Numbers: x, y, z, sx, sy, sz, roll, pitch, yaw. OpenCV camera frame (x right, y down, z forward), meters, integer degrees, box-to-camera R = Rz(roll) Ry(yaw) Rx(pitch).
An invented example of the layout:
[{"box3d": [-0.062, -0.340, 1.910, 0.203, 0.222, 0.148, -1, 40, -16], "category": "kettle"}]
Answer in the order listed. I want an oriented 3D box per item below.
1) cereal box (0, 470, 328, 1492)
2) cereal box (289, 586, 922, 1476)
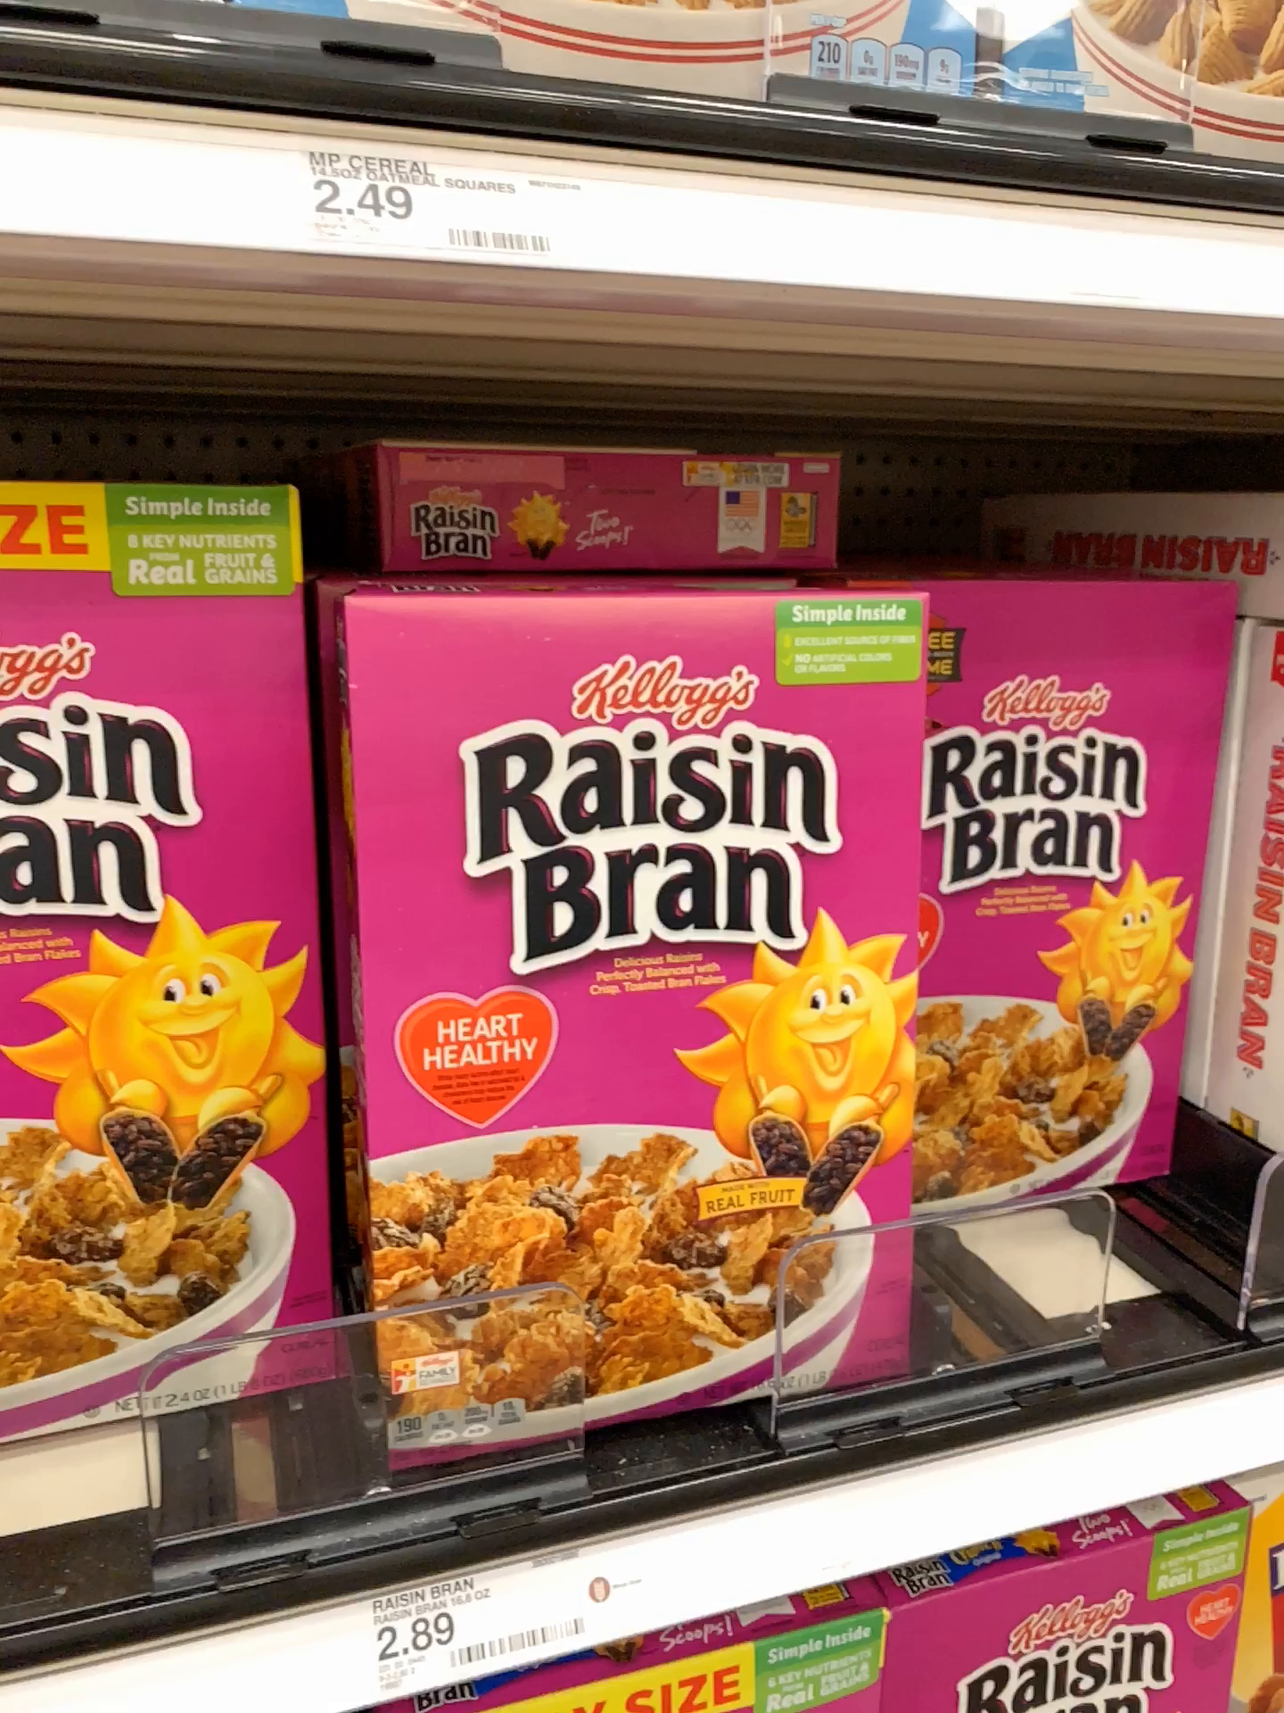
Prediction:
[{"box3d": [-0.225, 0.033, 0.434, 0.220, 0.299, 0.060, -4, 14, -19], "category": "cereal box"}, {"box3d": [-0.009, 0.050, 0.457, 0.200, 0.279, 0.050, -4, 11, -18], "category": "cereal box"}]
